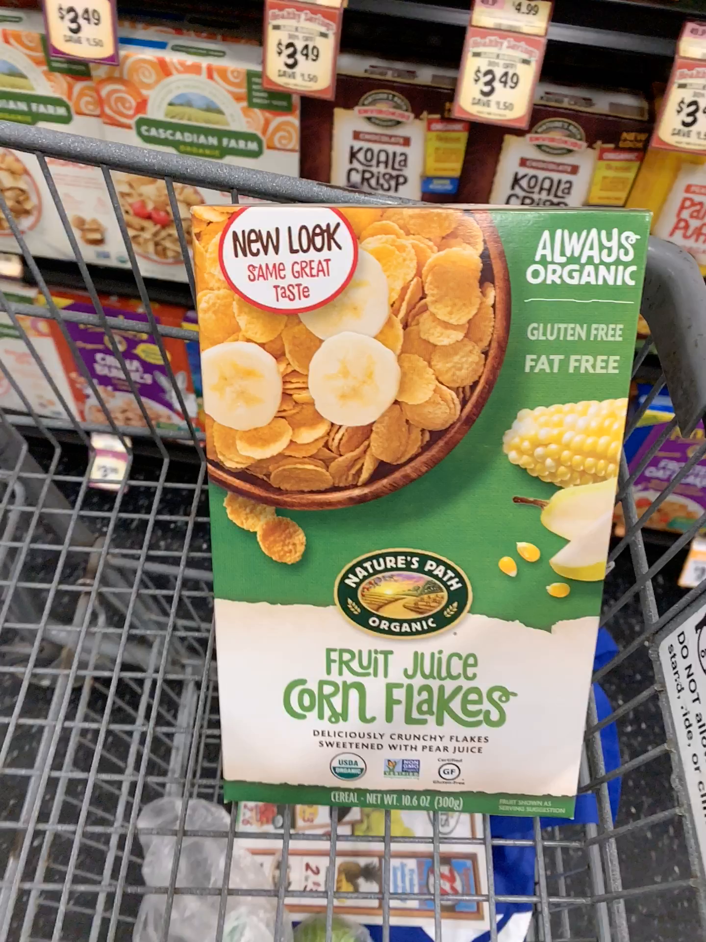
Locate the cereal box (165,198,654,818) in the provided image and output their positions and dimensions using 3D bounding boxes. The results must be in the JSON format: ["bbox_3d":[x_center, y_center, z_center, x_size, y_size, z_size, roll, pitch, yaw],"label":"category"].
[{"bbox_3d":[0.018,0.019,0.307,0.160,0.250,0.060,1,19,3],"label":"cereal box"}]
